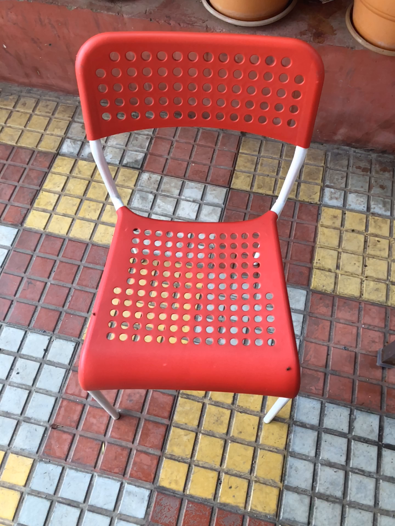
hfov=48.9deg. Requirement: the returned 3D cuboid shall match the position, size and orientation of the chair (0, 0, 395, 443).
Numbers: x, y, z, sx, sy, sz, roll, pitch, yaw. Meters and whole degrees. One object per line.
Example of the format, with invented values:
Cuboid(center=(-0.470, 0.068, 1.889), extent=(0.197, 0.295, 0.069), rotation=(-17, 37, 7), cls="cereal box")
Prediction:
Cuboid(center=(-0.029, 0.023, 0.824), extent=(0.450, 0.697, 0.542), rotation=(2, 65, 0), cls="chair")
